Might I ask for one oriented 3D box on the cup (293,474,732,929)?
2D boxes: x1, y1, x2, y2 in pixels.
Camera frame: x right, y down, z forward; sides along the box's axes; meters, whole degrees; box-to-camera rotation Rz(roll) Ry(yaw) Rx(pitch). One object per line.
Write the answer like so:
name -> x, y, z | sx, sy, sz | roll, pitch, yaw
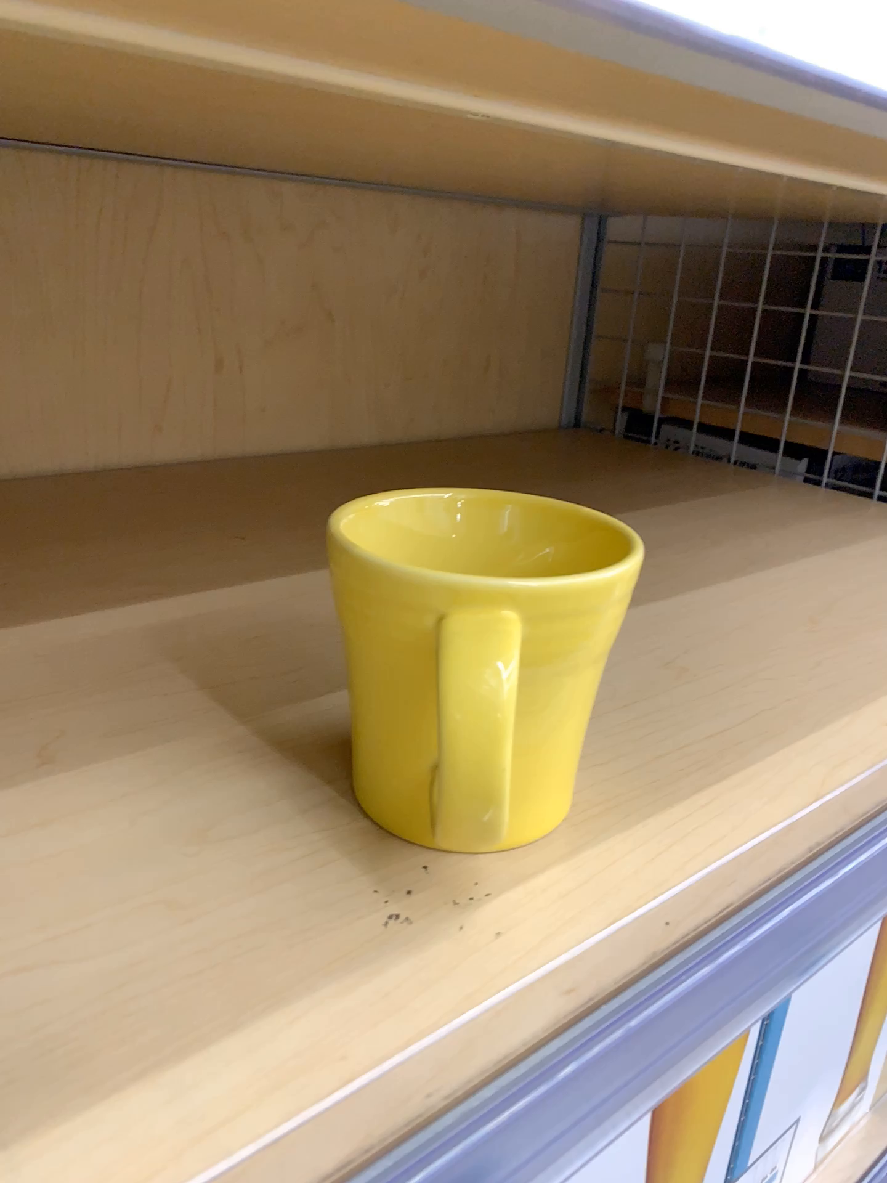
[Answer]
cup -> 0.011, 0.024, 0.295 | 0.103, 0.088, 0.140 | 3, 20, -4
